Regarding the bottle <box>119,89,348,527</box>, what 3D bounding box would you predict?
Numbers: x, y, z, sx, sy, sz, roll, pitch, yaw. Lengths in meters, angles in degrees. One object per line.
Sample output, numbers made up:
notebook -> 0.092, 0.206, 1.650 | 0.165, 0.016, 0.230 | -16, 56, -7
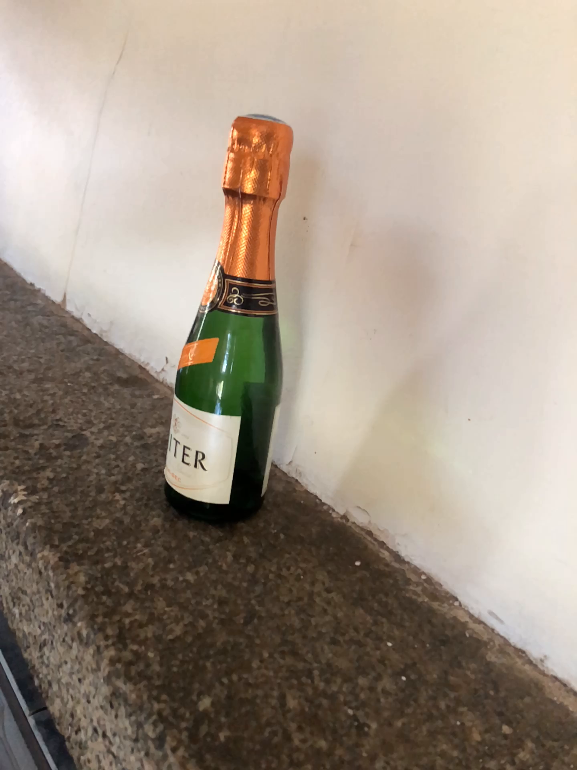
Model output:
bottle -> -0.034, -0.036, 0.327 | 0.070, 0.199, 0.060 | -3, 21, -36
